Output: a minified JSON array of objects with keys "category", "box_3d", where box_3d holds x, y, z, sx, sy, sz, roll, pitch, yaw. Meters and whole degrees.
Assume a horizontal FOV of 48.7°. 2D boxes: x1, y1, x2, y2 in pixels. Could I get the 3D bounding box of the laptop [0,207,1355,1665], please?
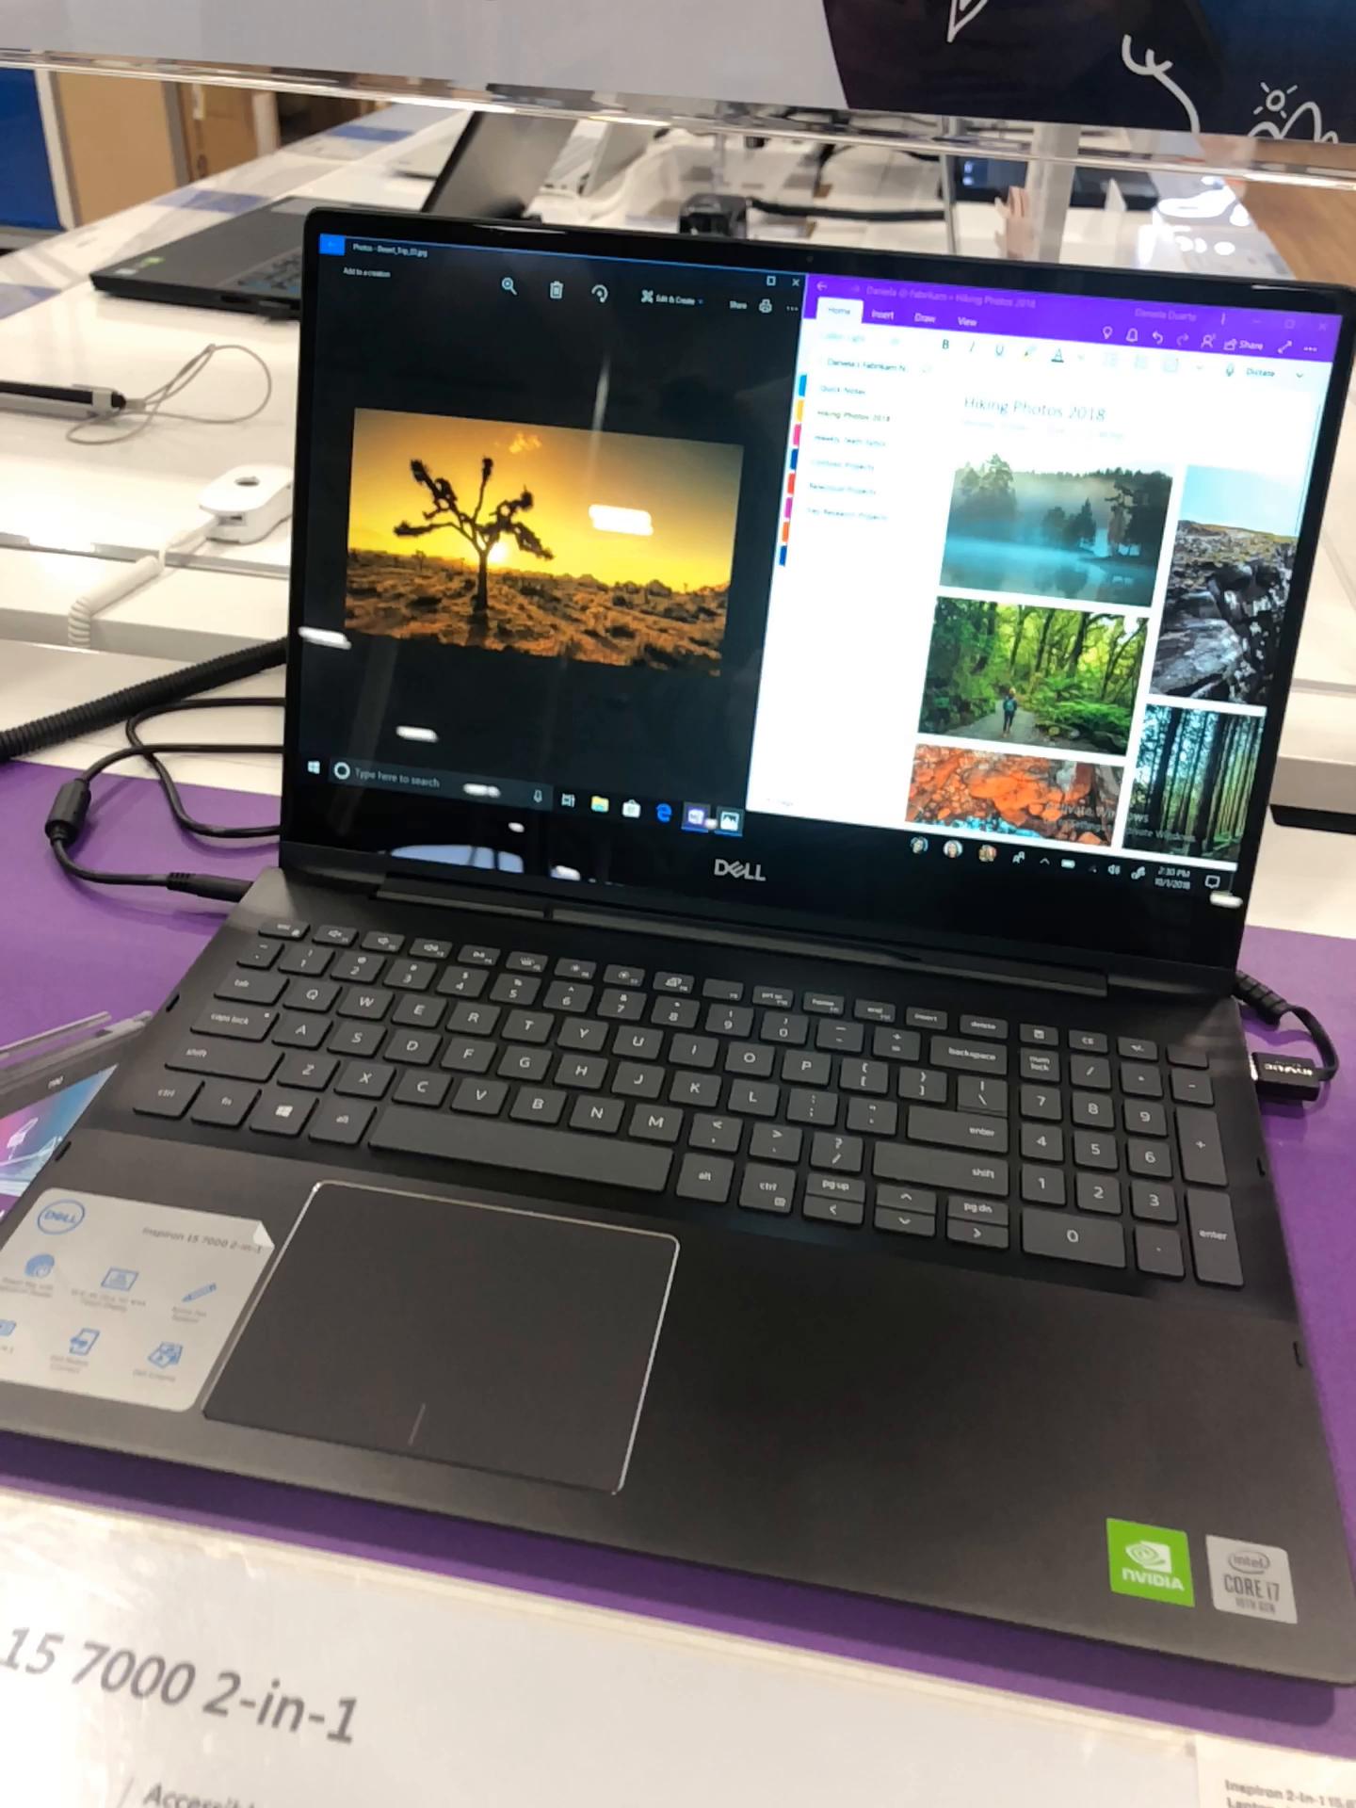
[{"category":"laptop","box_3d":[0.010,-0.037,0.412,0.340,0.207,0.325,8,35,7]}]
